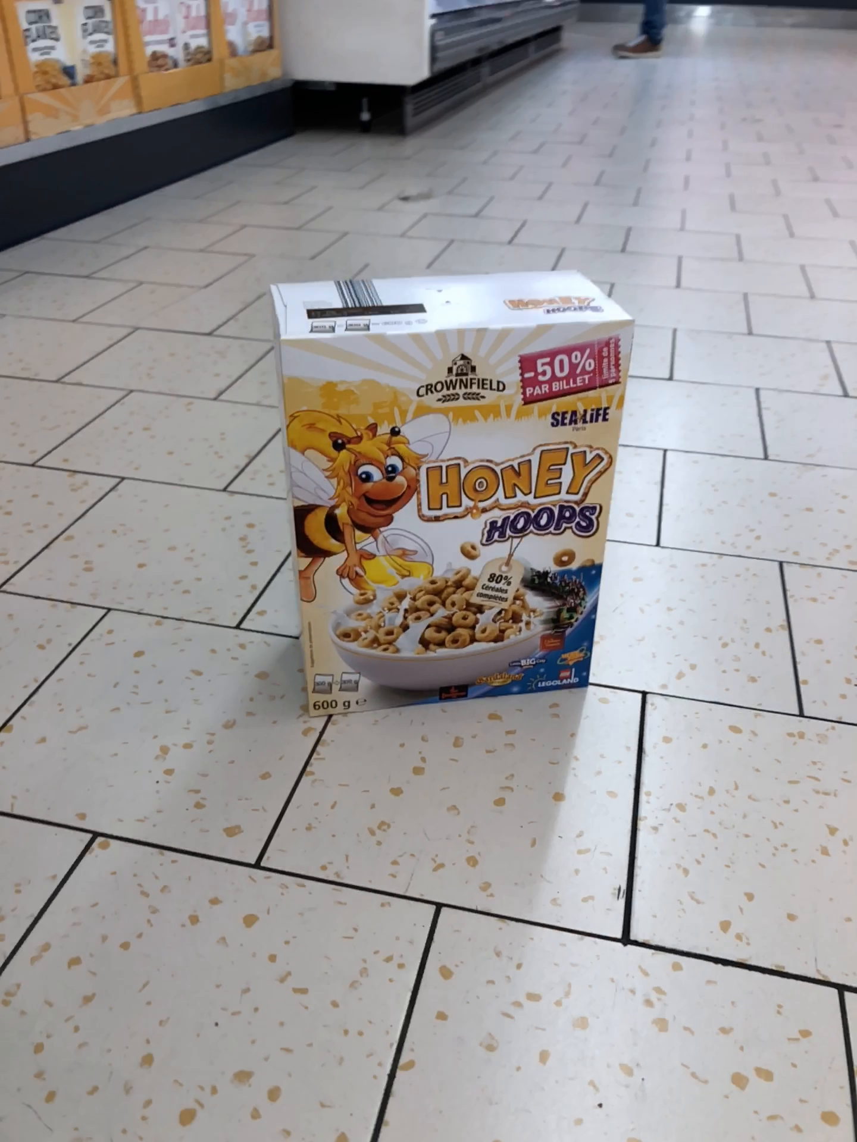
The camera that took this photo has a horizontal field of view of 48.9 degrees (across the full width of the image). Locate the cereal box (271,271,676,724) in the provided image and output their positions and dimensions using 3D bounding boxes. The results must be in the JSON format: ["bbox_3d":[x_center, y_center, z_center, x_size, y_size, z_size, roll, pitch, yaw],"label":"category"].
[{"bbox_3d":[0.017,-0.045,0.594,0.210,0.249,0.111,-4,32,-8],"label":"cereal box"}]
